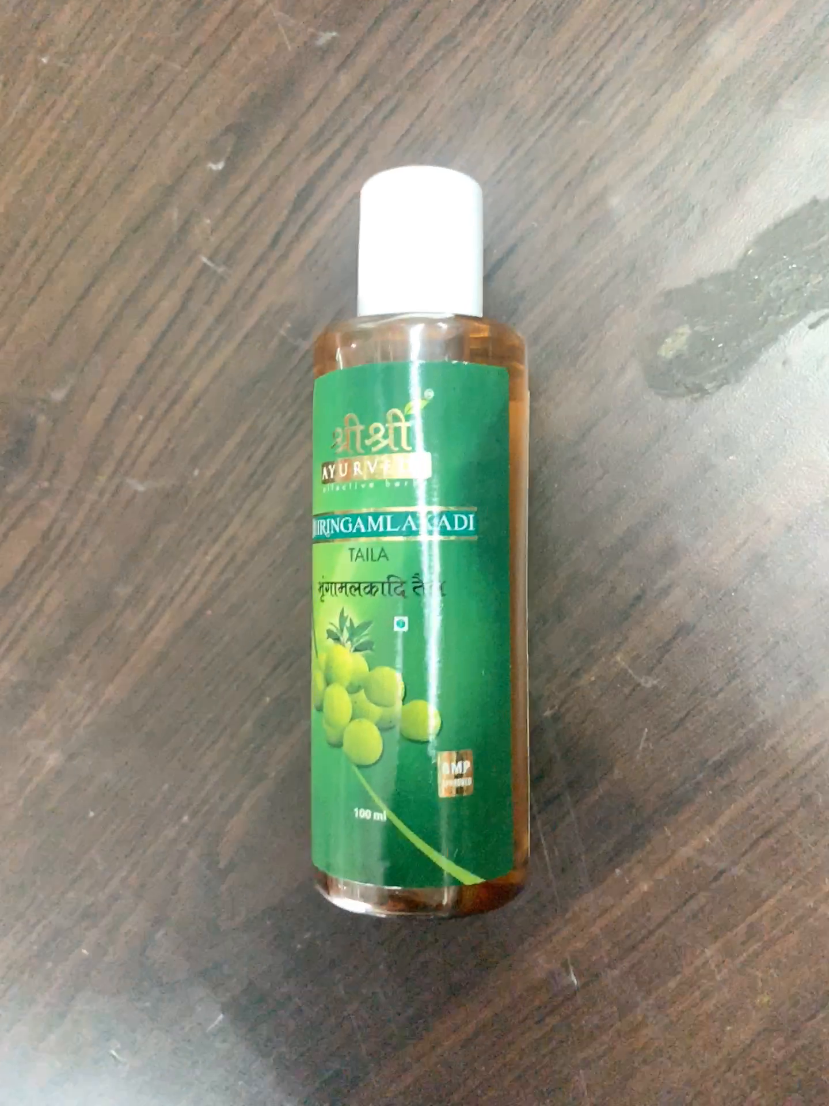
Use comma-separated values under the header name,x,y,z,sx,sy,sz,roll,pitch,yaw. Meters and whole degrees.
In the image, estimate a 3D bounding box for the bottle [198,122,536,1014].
name,x,y,z,sx,sy,sz,roll,pitch,yaw
bottle,-0.006,0.002,0.144,0.040,0.040,0.120,0,88,24
